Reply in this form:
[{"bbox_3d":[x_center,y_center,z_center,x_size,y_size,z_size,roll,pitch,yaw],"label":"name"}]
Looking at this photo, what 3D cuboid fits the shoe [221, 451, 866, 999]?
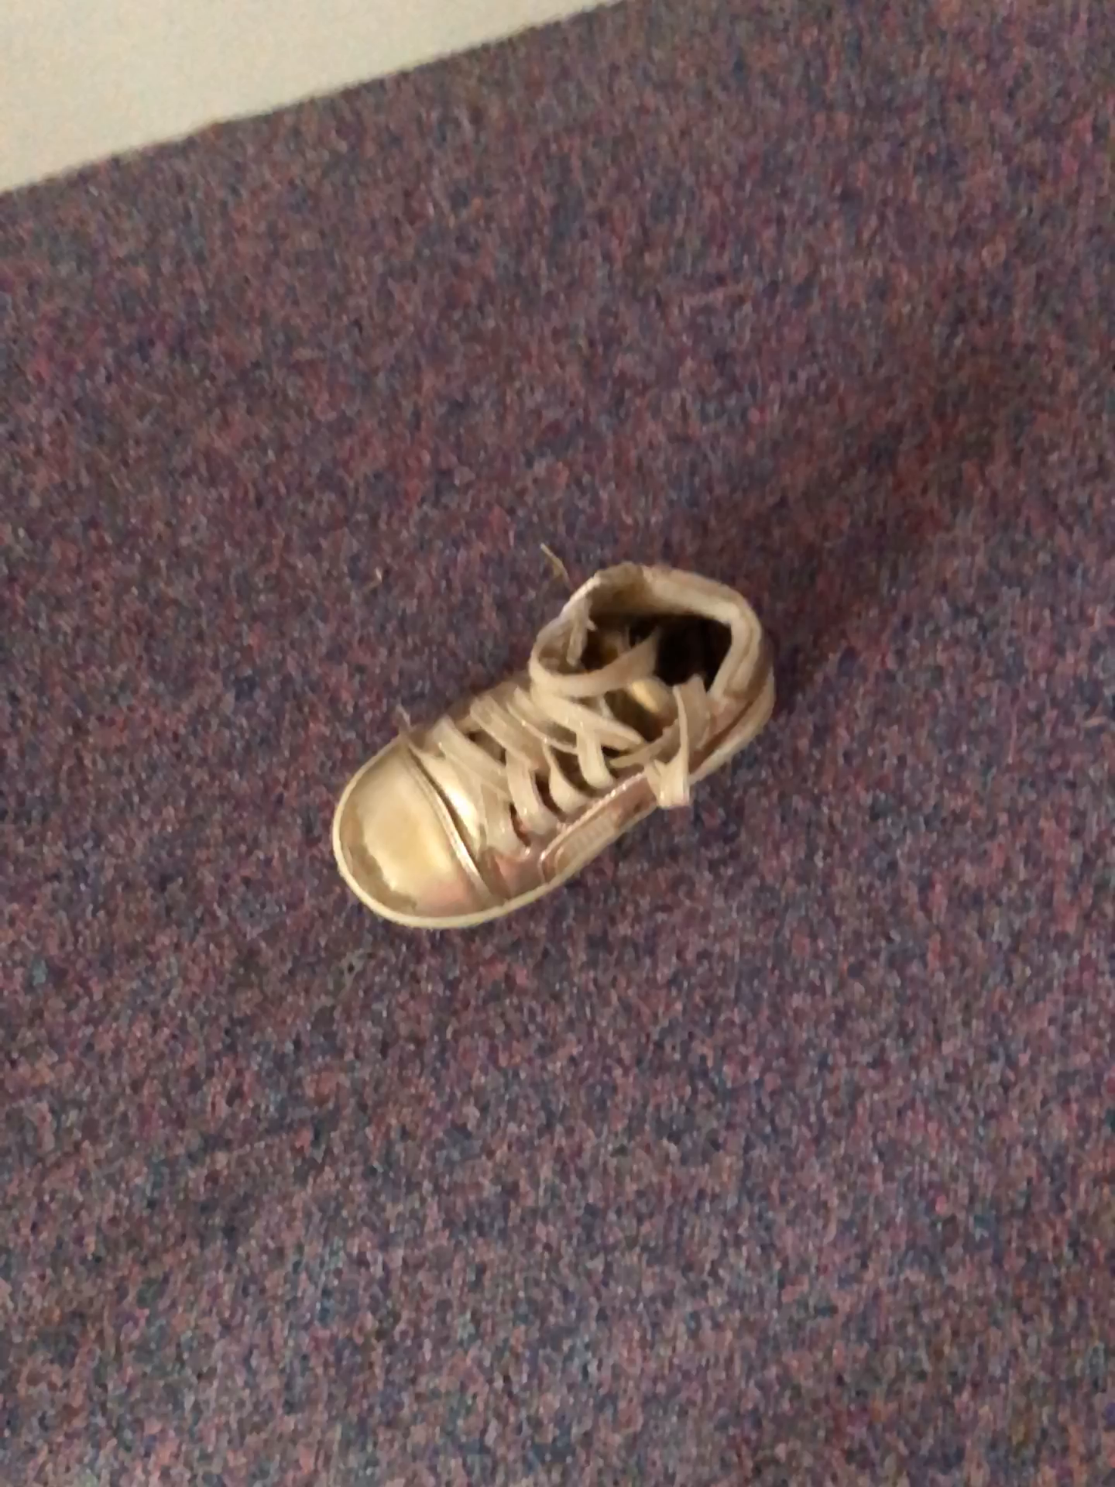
[{"bbox_3d":[-0.002,0.000,0.361,0.150,0.080,0.080,-31,80,-1],"label":"shoe"}]
